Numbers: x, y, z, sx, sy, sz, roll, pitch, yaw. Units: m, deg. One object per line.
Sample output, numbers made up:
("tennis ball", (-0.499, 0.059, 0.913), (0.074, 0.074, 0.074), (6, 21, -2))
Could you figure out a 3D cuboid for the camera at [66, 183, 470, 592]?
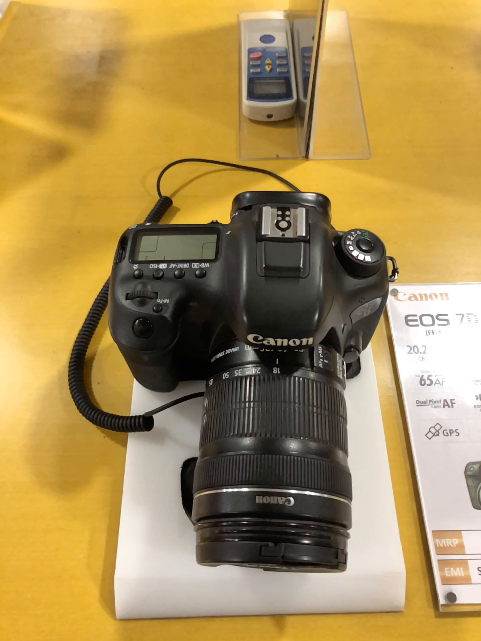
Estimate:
("camera", (0.009, 0.035, 0.262), (0.130, 0.110, 0.171), (0, 60, 0))
